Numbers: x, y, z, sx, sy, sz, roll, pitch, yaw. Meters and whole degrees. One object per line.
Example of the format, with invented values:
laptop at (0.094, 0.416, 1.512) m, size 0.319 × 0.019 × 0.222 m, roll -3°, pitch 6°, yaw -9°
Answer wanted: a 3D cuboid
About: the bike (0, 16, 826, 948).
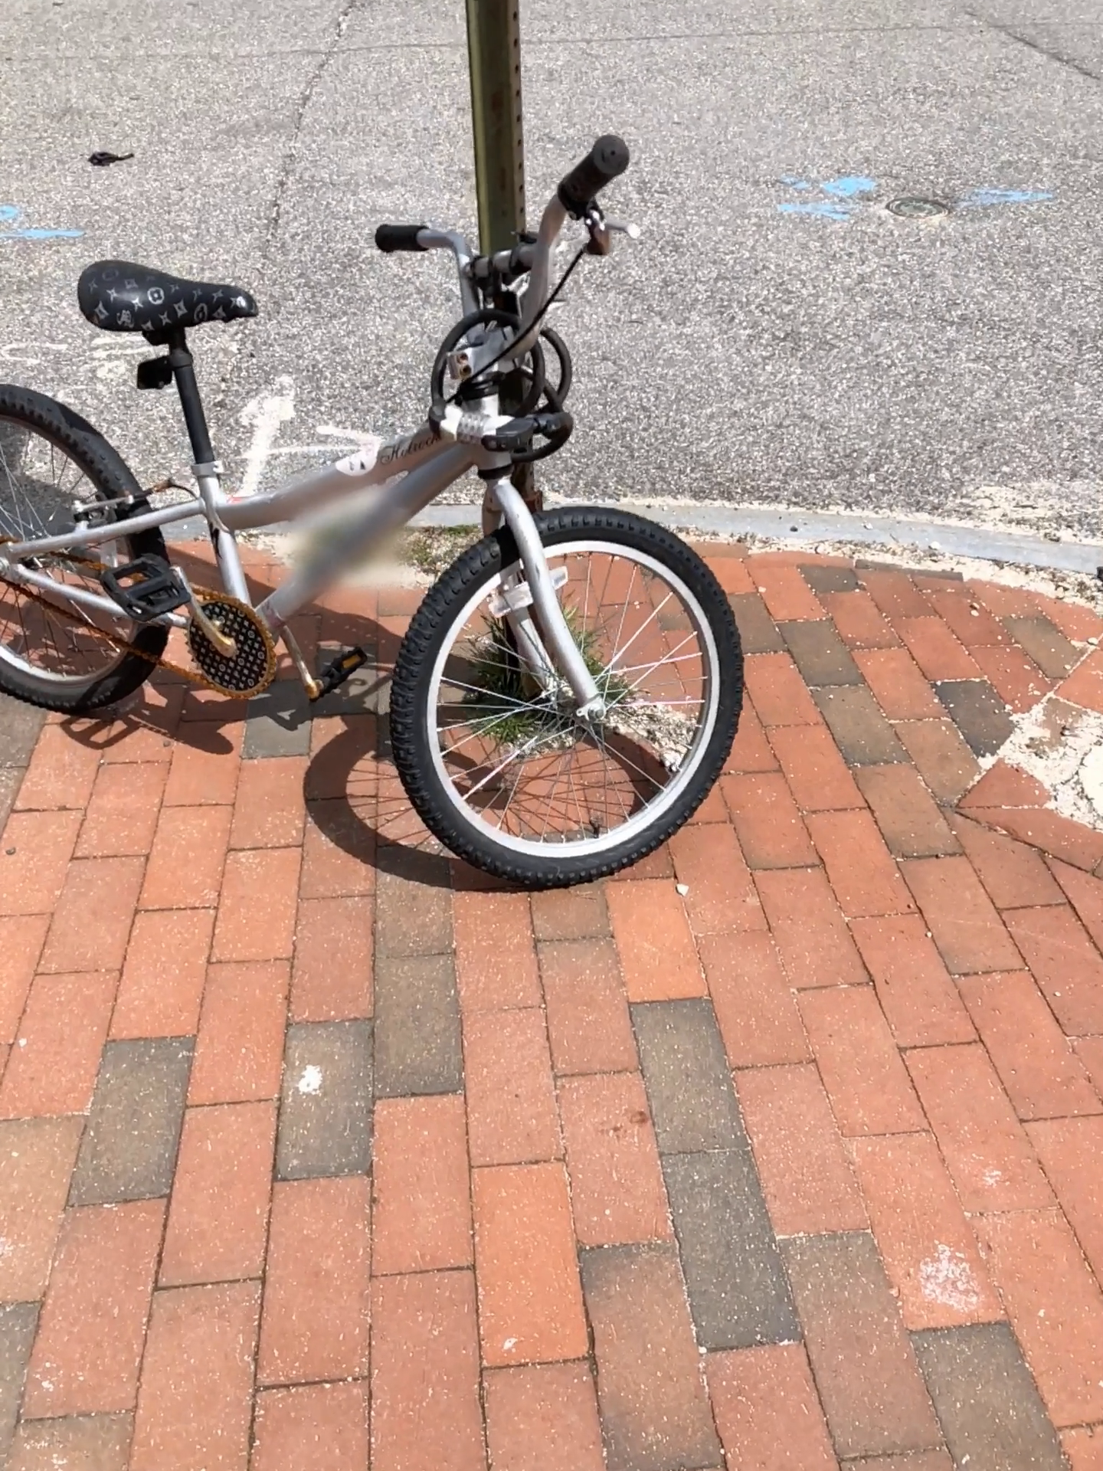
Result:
bike at (-0.364, -0.385, 1.552) m, size 1.208 × 0.831 × 0.720 m, roll 10°, pitch 38°, yaw 12°
